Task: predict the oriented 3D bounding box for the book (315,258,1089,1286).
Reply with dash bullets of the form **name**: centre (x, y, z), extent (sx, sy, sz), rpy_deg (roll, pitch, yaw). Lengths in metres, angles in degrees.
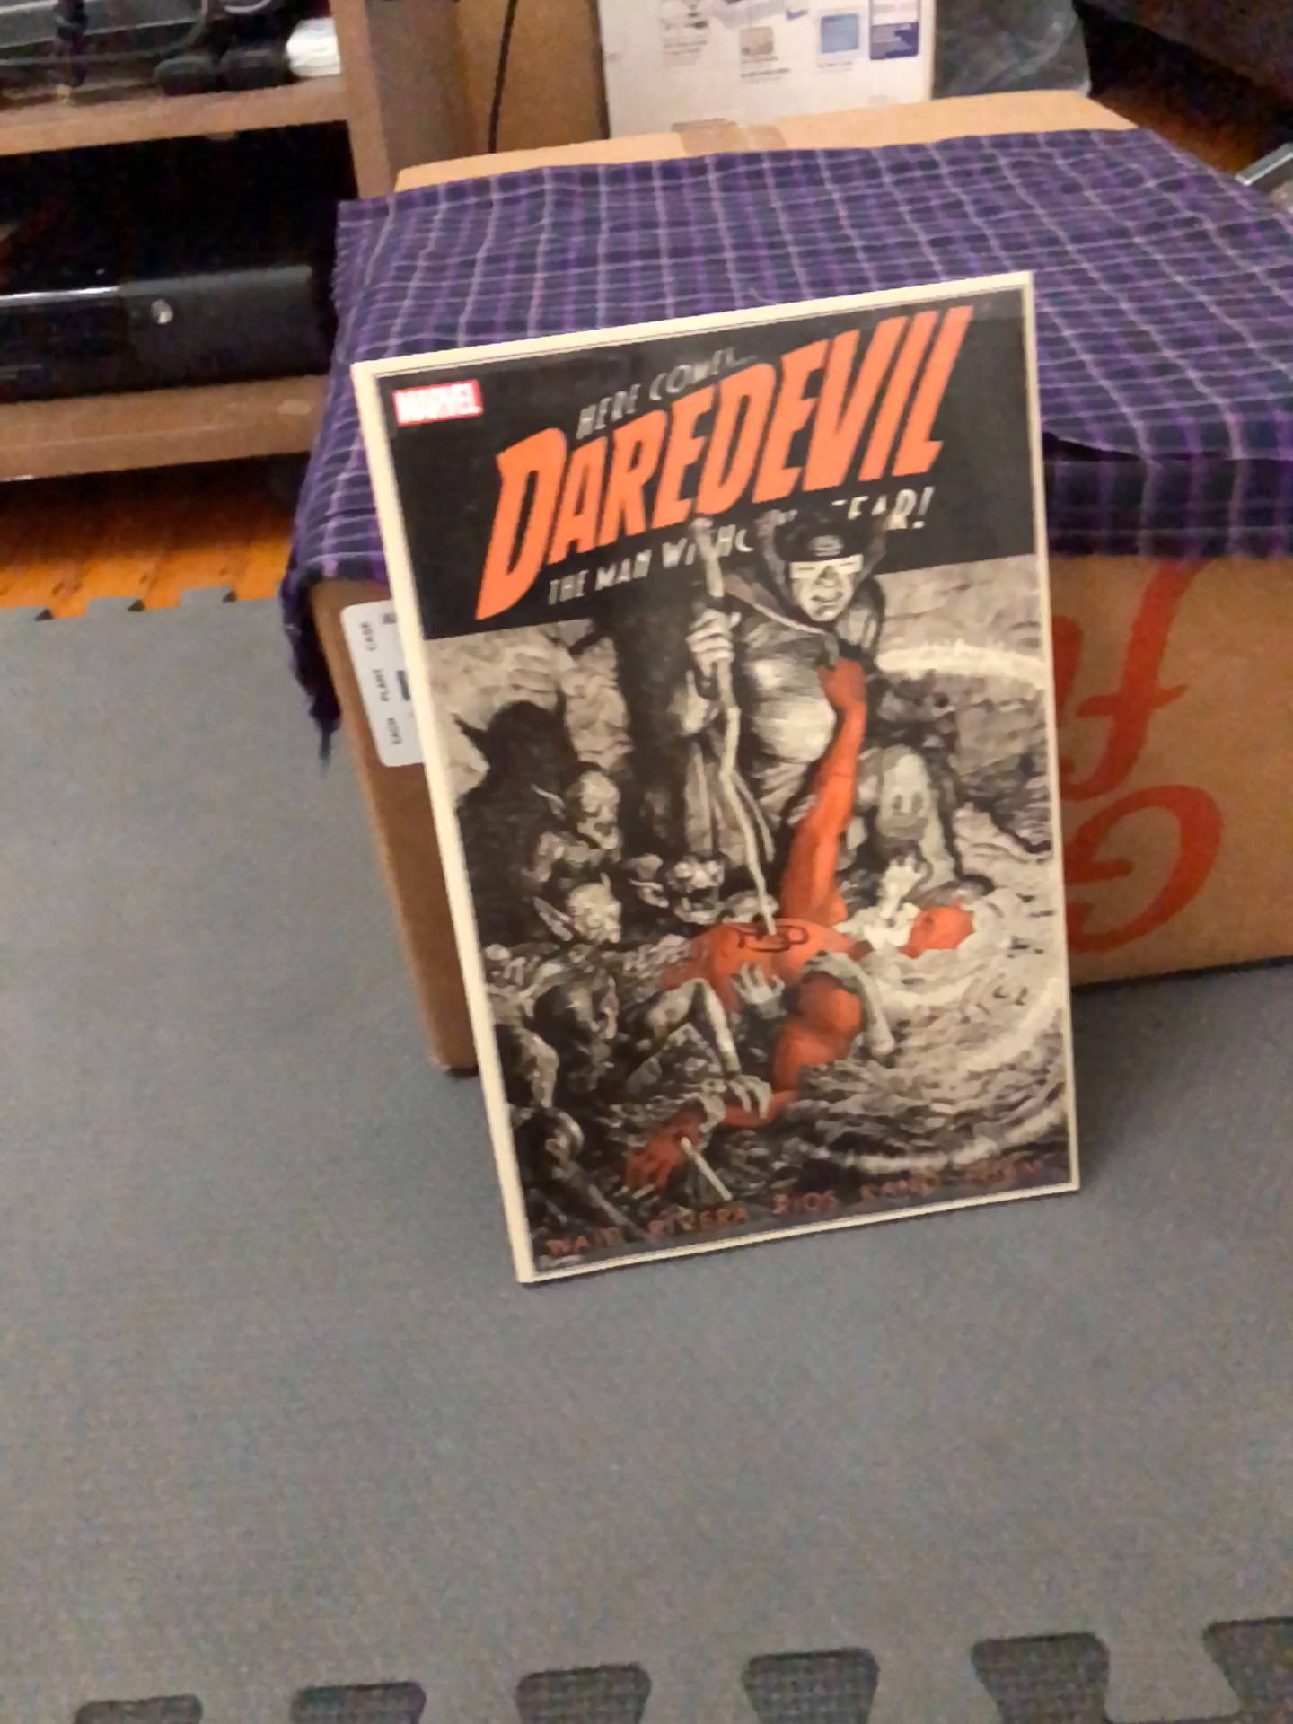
- **book**: centre (0.022, -0.014, 0.351), extent (0.160, 0.229, 0.020), rpy_deg (-9, 16, -3)
